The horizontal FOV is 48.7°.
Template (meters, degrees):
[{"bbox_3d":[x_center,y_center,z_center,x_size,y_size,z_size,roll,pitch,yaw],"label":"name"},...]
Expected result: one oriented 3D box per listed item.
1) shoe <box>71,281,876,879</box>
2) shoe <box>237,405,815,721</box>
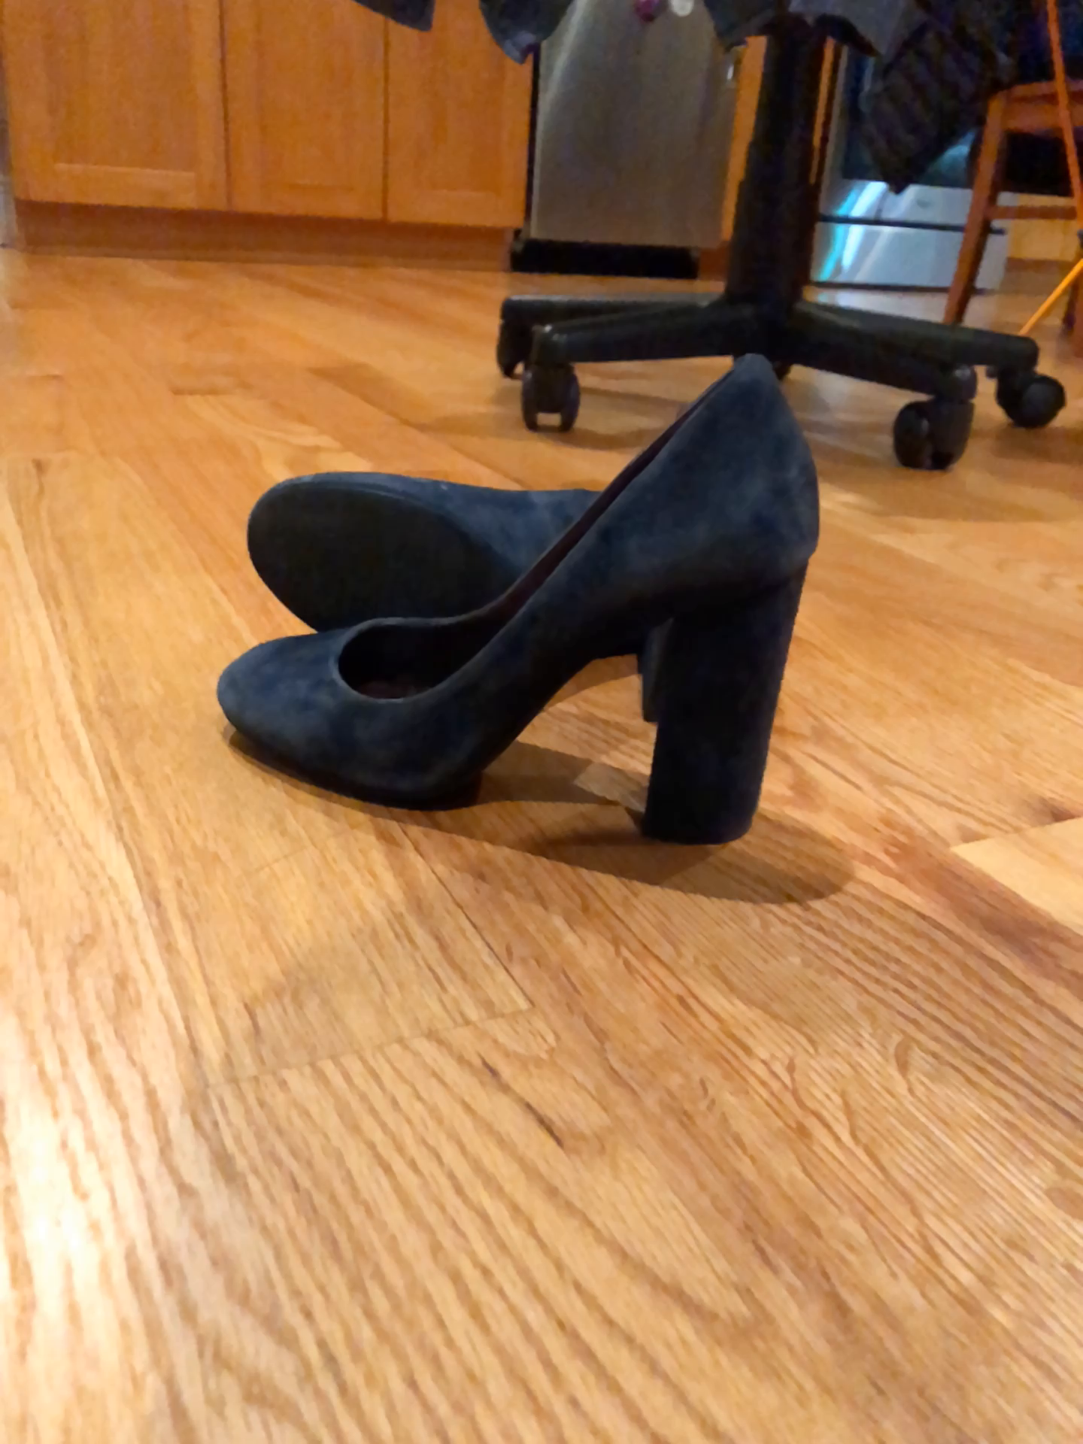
[{"bbox_3d":[-0.021,-0.053,0.385,0.226,0.146,0.081,9,24,12],"label":"shoe"},{"bbox_3d":[-0.006,-0.075,0.507,0.204,0.080,0.153,4,24,0],"label":"shoe"}]
